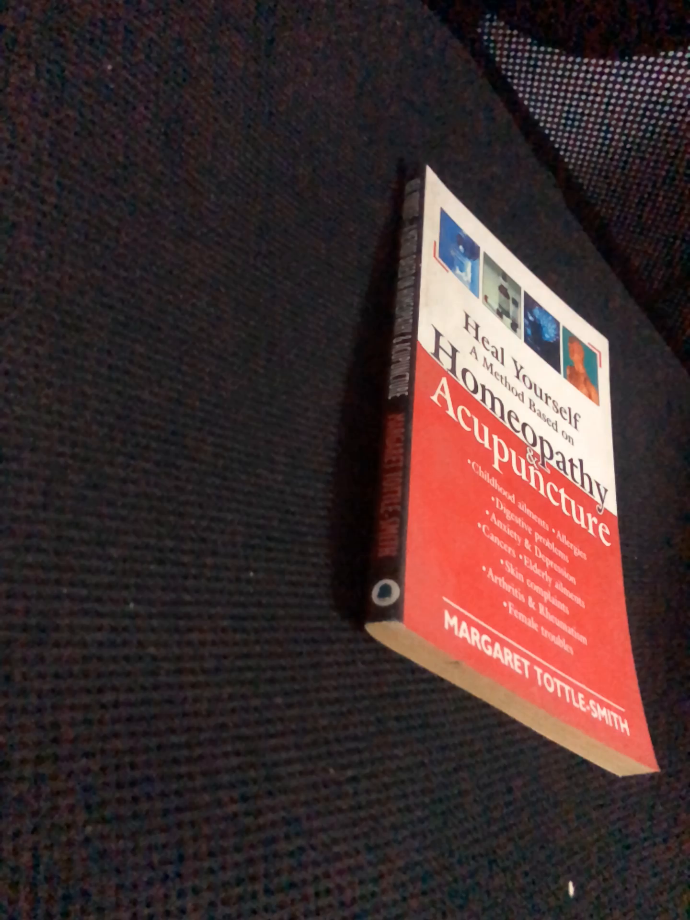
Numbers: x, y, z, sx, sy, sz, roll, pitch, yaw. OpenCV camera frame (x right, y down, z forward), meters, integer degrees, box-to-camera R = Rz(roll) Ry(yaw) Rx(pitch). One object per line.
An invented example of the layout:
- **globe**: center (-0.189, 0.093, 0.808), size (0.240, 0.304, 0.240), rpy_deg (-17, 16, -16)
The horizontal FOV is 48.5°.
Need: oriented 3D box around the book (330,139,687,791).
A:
- **book**: center (0.069, -0.008, 0.298), size (0.151, 0.020, 0.221), rpy_deg (35, 45, -30)
